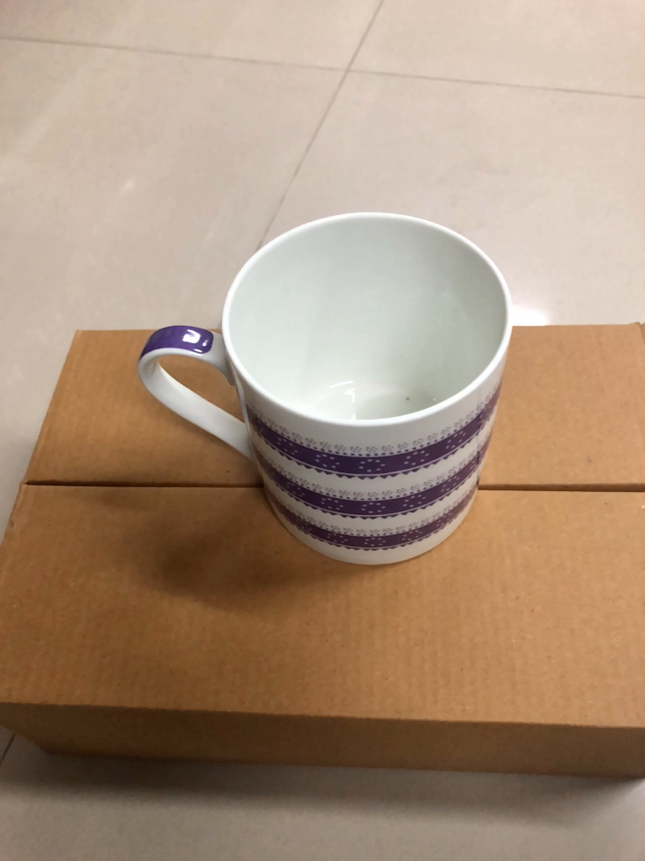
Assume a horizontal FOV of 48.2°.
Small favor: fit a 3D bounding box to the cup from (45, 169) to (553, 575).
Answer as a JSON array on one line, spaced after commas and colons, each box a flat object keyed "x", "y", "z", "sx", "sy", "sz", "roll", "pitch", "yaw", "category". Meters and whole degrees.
[{"x": -0.002, "y": -0.016, "z": 0.232, "sx": 0.120, "sy": 0.090, "sz": 0.090, "roll": 1, "pitch": 55, "yaw": 5, "category": "cup"}]
